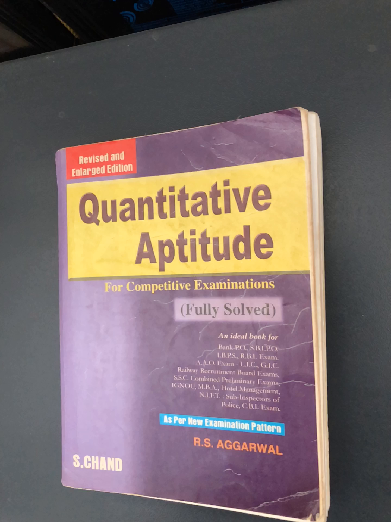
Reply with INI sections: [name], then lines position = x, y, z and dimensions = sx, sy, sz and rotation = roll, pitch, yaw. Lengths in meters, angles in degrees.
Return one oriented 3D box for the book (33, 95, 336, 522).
[book]
position = -0.010, 0.027, 0.274
dimensions = 0.180, 0.050, 0.220
rotation = -2, 88, 18
